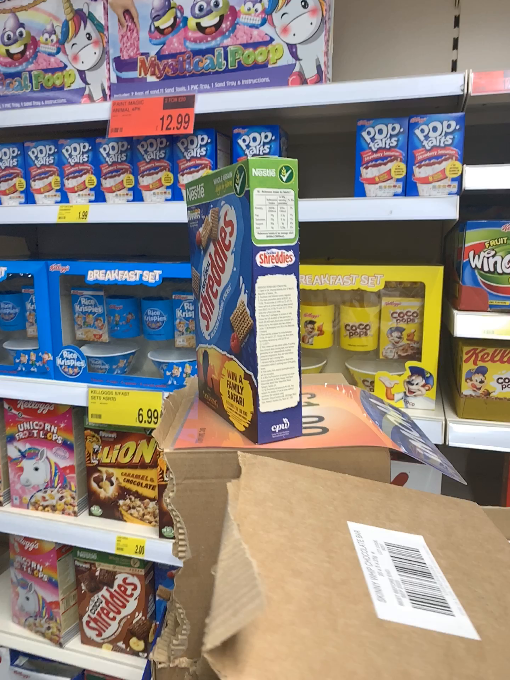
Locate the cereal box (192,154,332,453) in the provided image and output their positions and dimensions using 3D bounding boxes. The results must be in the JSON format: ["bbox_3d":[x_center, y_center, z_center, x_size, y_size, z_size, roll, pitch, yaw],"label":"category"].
[{"bbox_3d":[-0.001,-0.046,0.581,0.070,0.269,0.211,-5,9,-22],"label":"cereal box"}]
